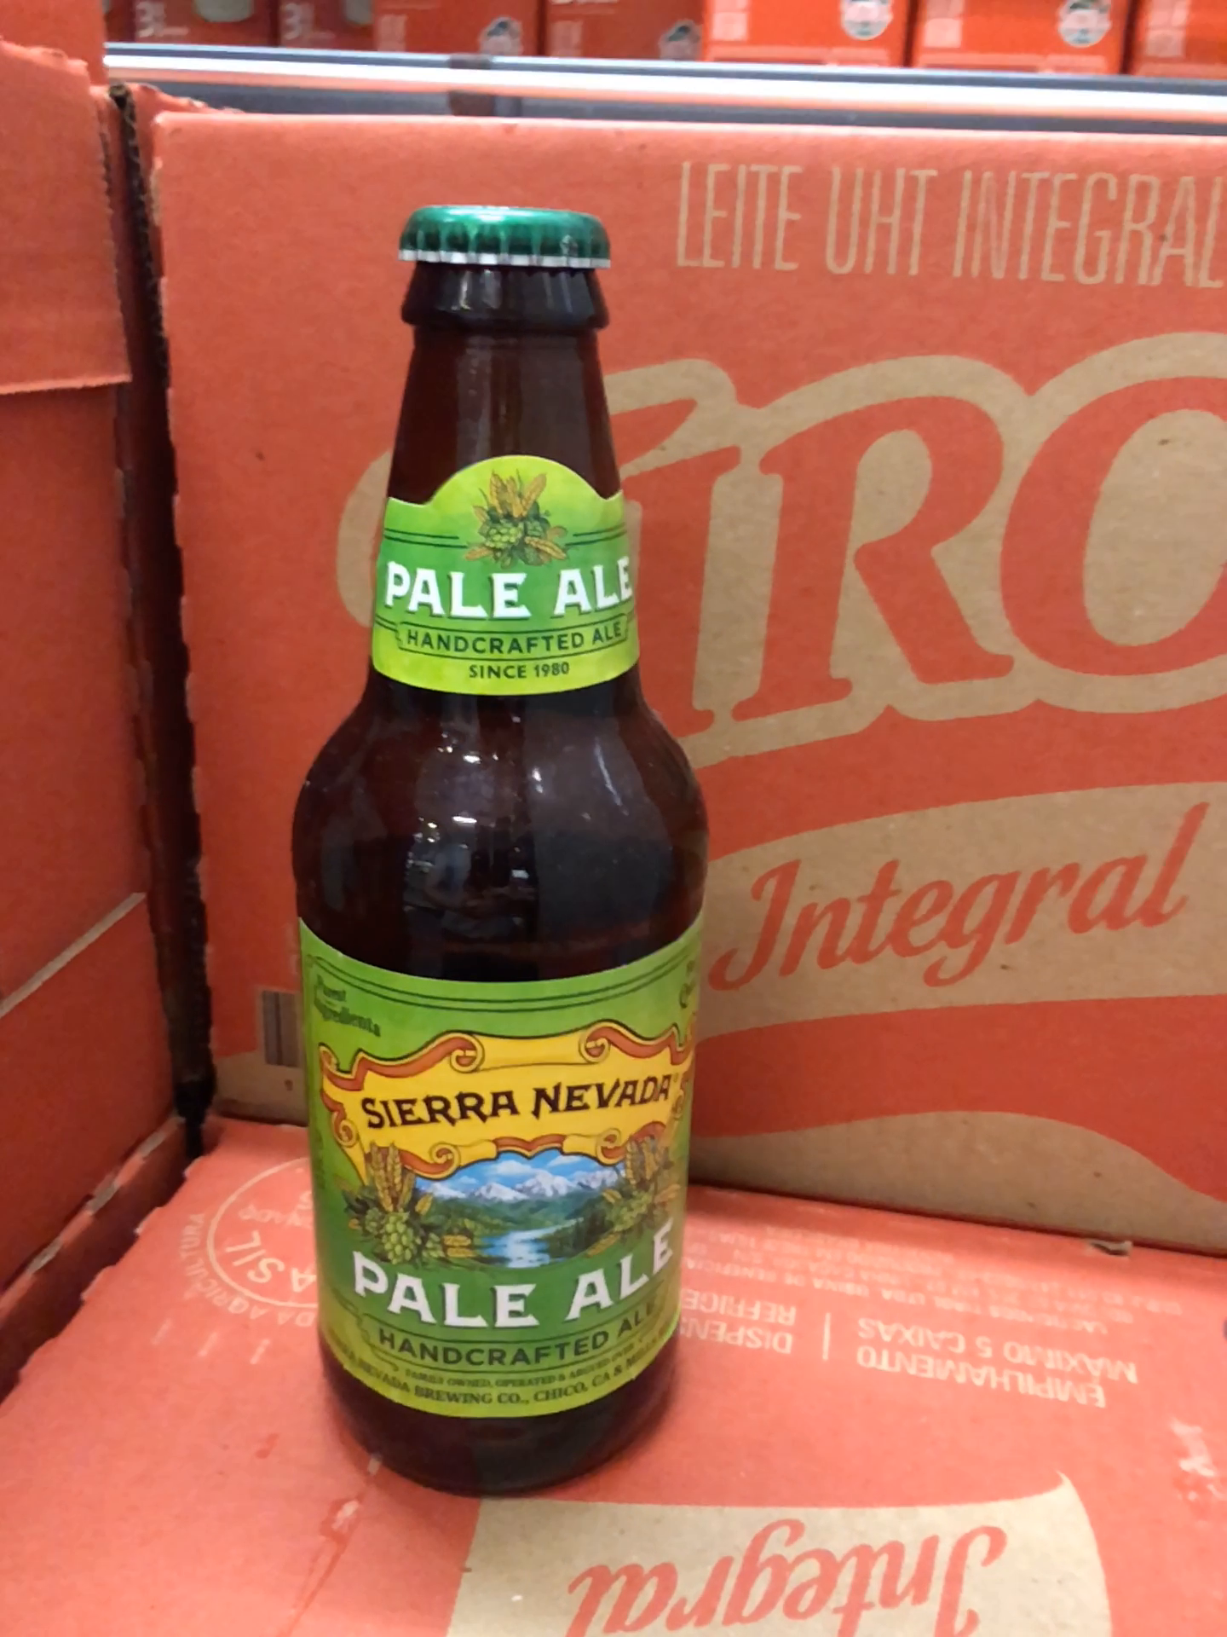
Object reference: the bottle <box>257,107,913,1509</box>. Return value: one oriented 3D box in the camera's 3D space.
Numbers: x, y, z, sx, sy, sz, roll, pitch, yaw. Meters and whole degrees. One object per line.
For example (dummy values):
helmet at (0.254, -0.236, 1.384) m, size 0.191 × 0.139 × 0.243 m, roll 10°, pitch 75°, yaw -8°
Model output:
bottle at (-0.010, 0.005, 0.206) m, size 0.070 × 0.189 × 0.060 m, roll 2°, pitch 20°, yaw -5°
